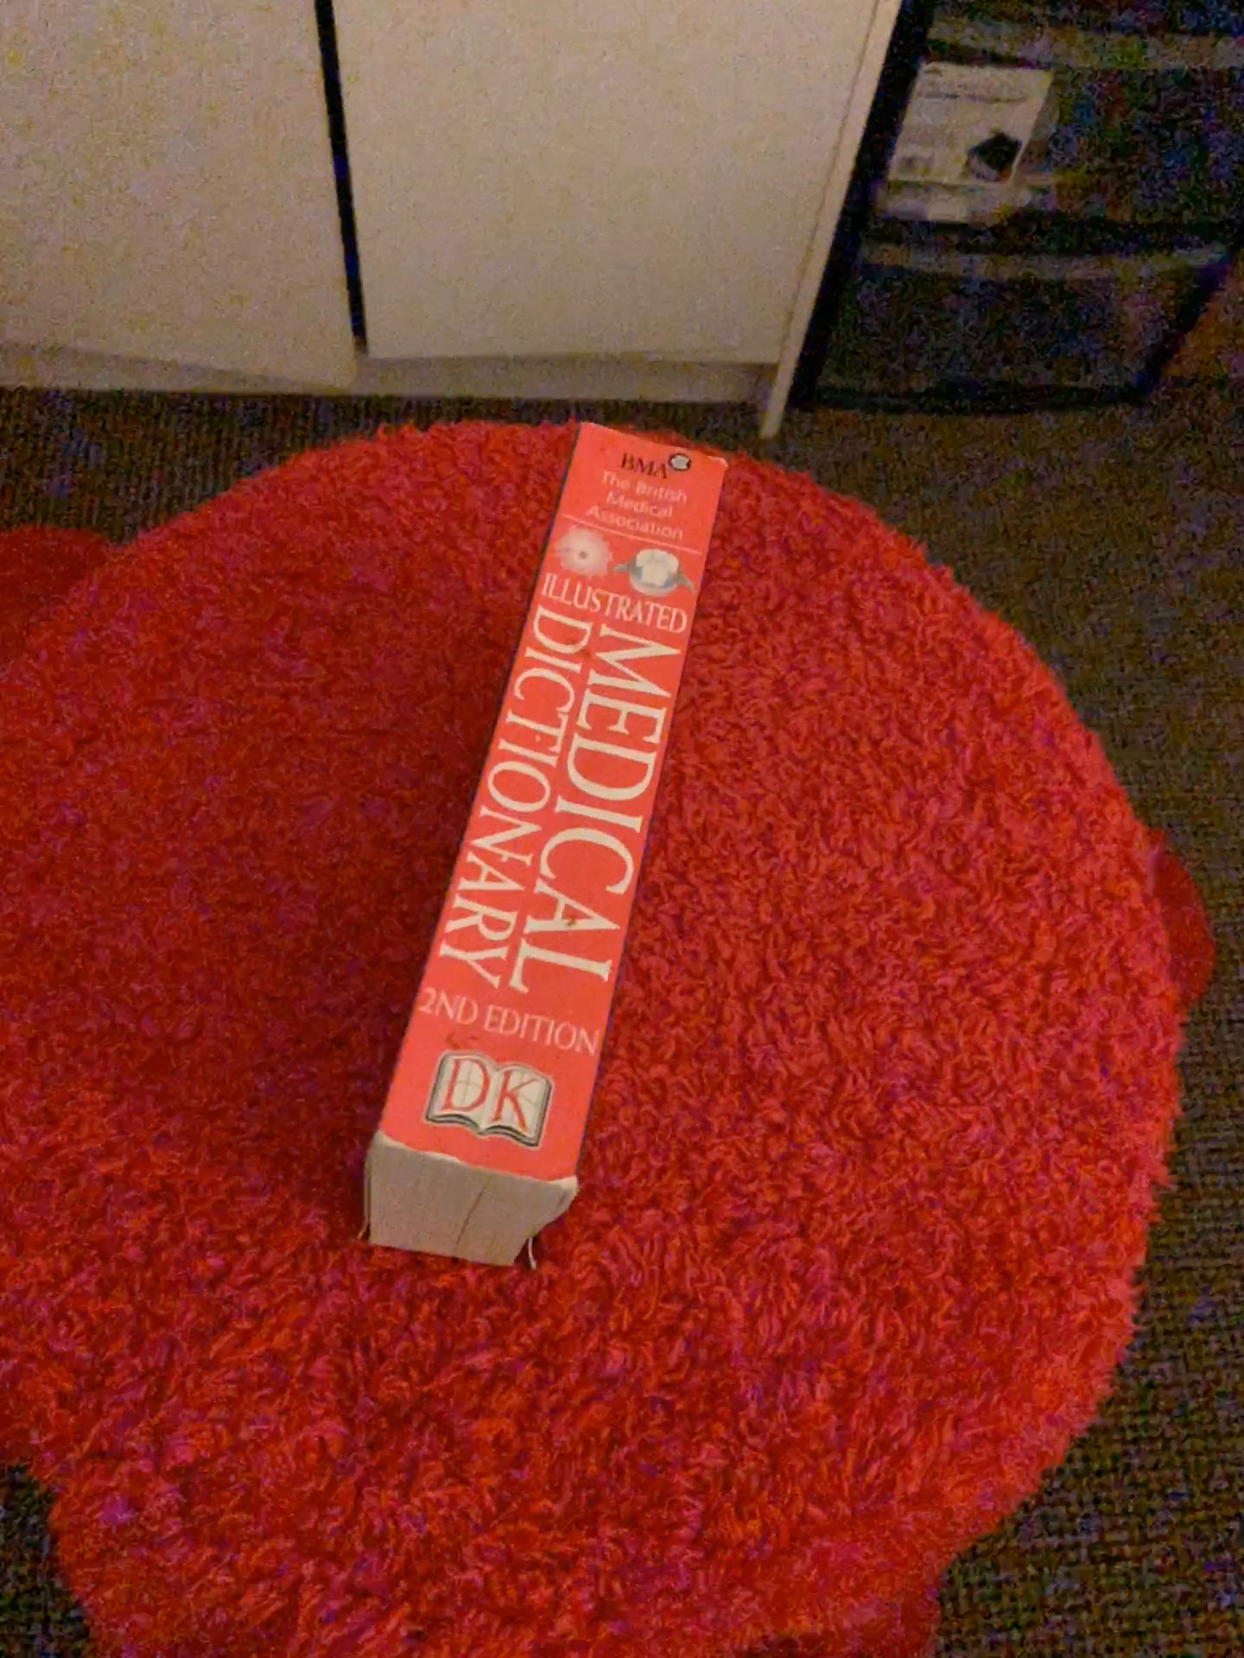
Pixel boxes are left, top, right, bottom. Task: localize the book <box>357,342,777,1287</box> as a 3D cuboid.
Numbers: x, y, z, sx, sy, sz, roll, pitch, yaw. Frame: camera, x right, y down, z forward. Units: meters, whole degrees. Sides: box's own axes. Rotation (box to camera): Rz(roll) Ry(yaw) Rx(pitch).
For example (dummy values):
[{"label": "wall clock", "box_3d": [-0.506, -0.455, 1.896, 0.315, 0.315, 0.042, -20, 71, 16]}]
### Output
[{"label": "book", "box_3d": [-0.016, -0.002, 0.351, 0.050, 0.129, 0.221, 15, 62, -4]}]
